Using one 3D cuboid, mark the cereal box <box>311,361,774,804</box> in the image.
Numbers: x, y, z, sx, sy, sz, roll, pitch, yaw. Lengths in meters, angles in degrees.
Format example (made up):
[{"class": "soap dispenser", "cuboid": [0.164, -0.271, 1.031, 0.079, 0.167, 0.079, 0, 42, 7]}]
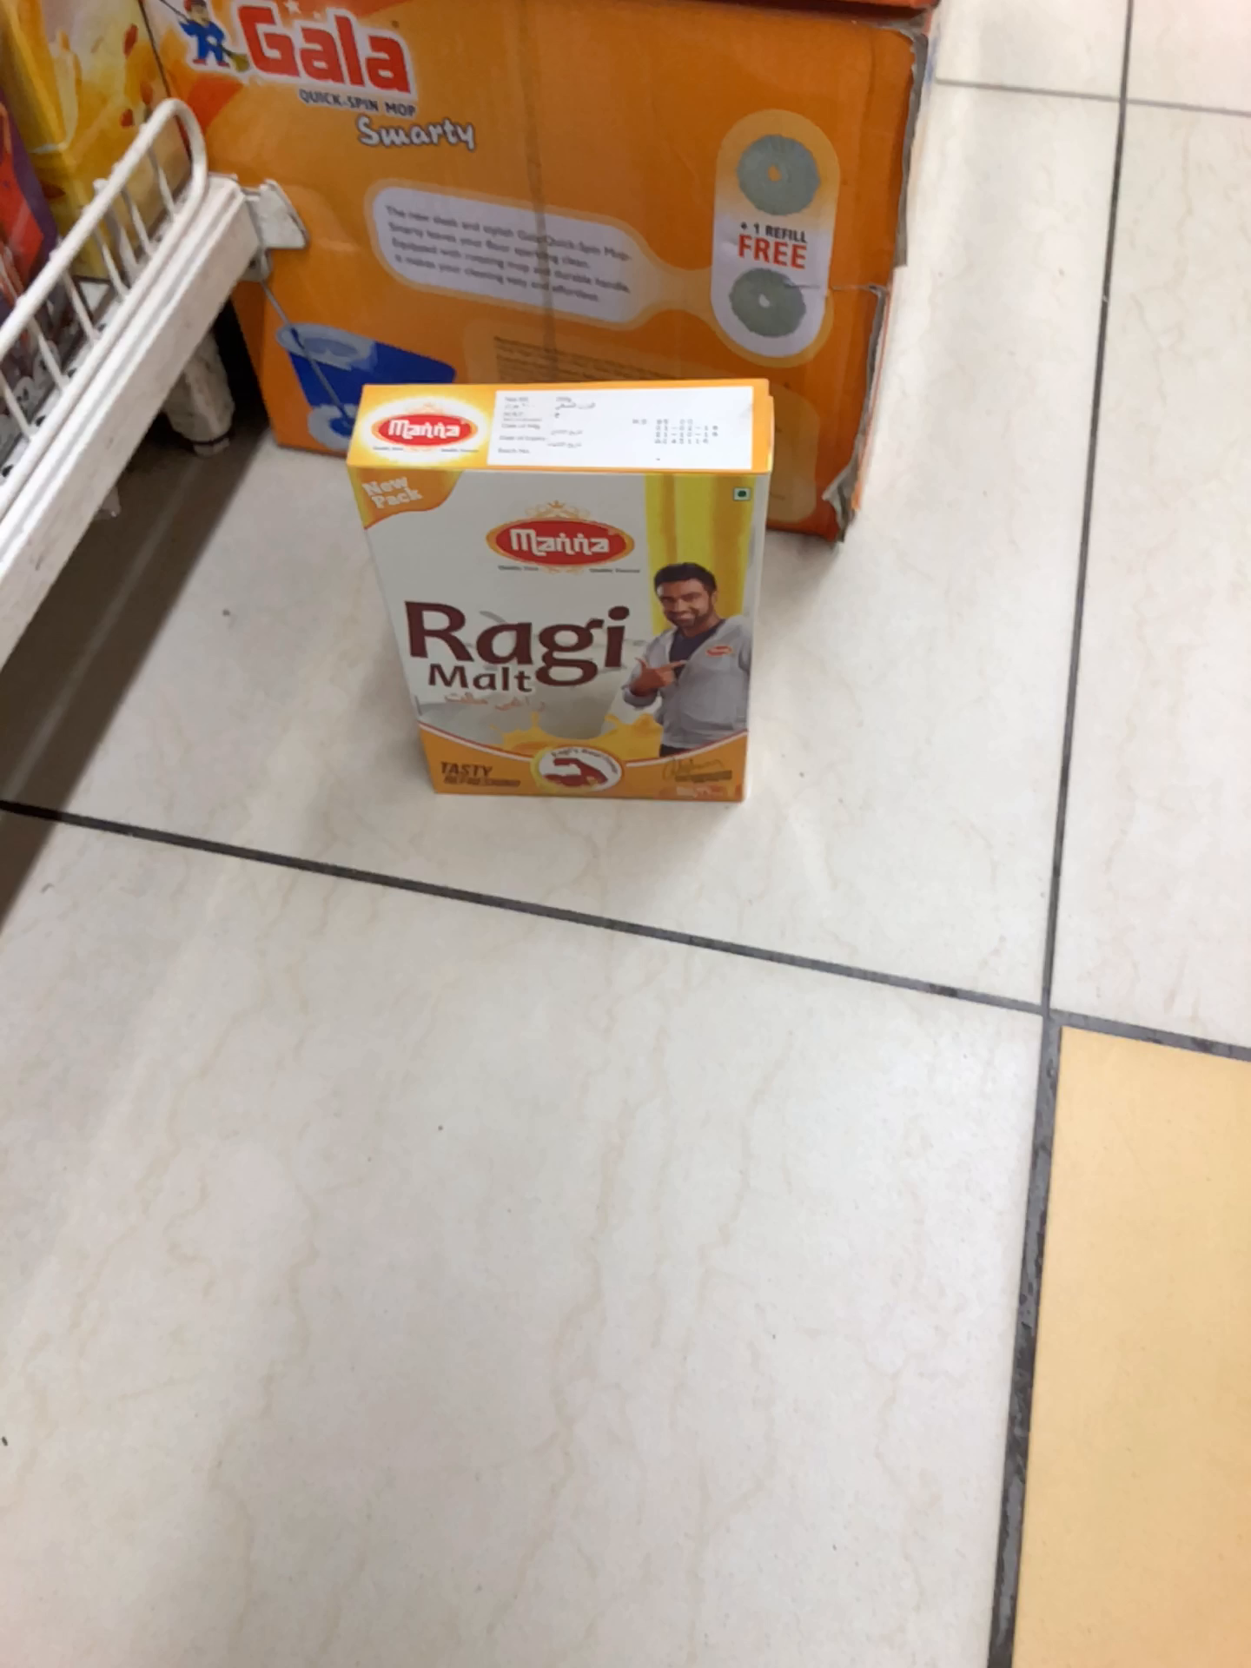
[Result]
[{"class": "cereal box", "cuboid": [-0.021, -0.082, 0.506, 0.140, 0.179, 0.050, 1, 58, 3]}]
